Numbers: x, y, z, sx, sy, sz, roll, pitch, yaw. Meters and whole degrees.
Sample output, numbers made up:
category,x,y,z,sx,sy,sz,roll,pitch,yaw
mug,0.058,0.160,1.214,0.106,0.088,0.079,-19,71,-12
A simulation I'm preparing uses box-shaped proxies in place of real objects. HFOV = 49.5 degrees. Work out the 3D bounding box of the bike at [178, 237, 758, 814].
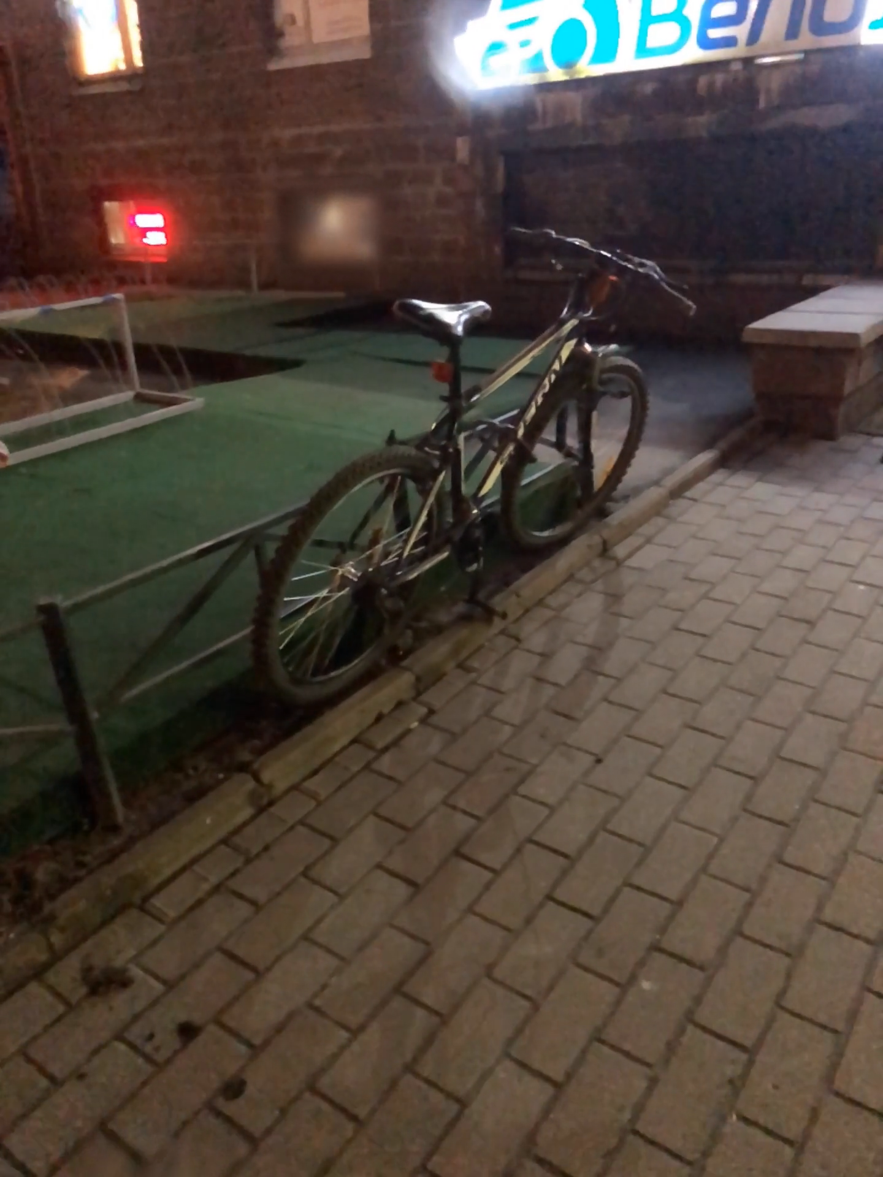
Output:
category,x,y,z,sx,sy,sz,roll,pitch,yaw
bike,0.199,-0.303,2.196,0.530,0.883,1.462,12,25,33
